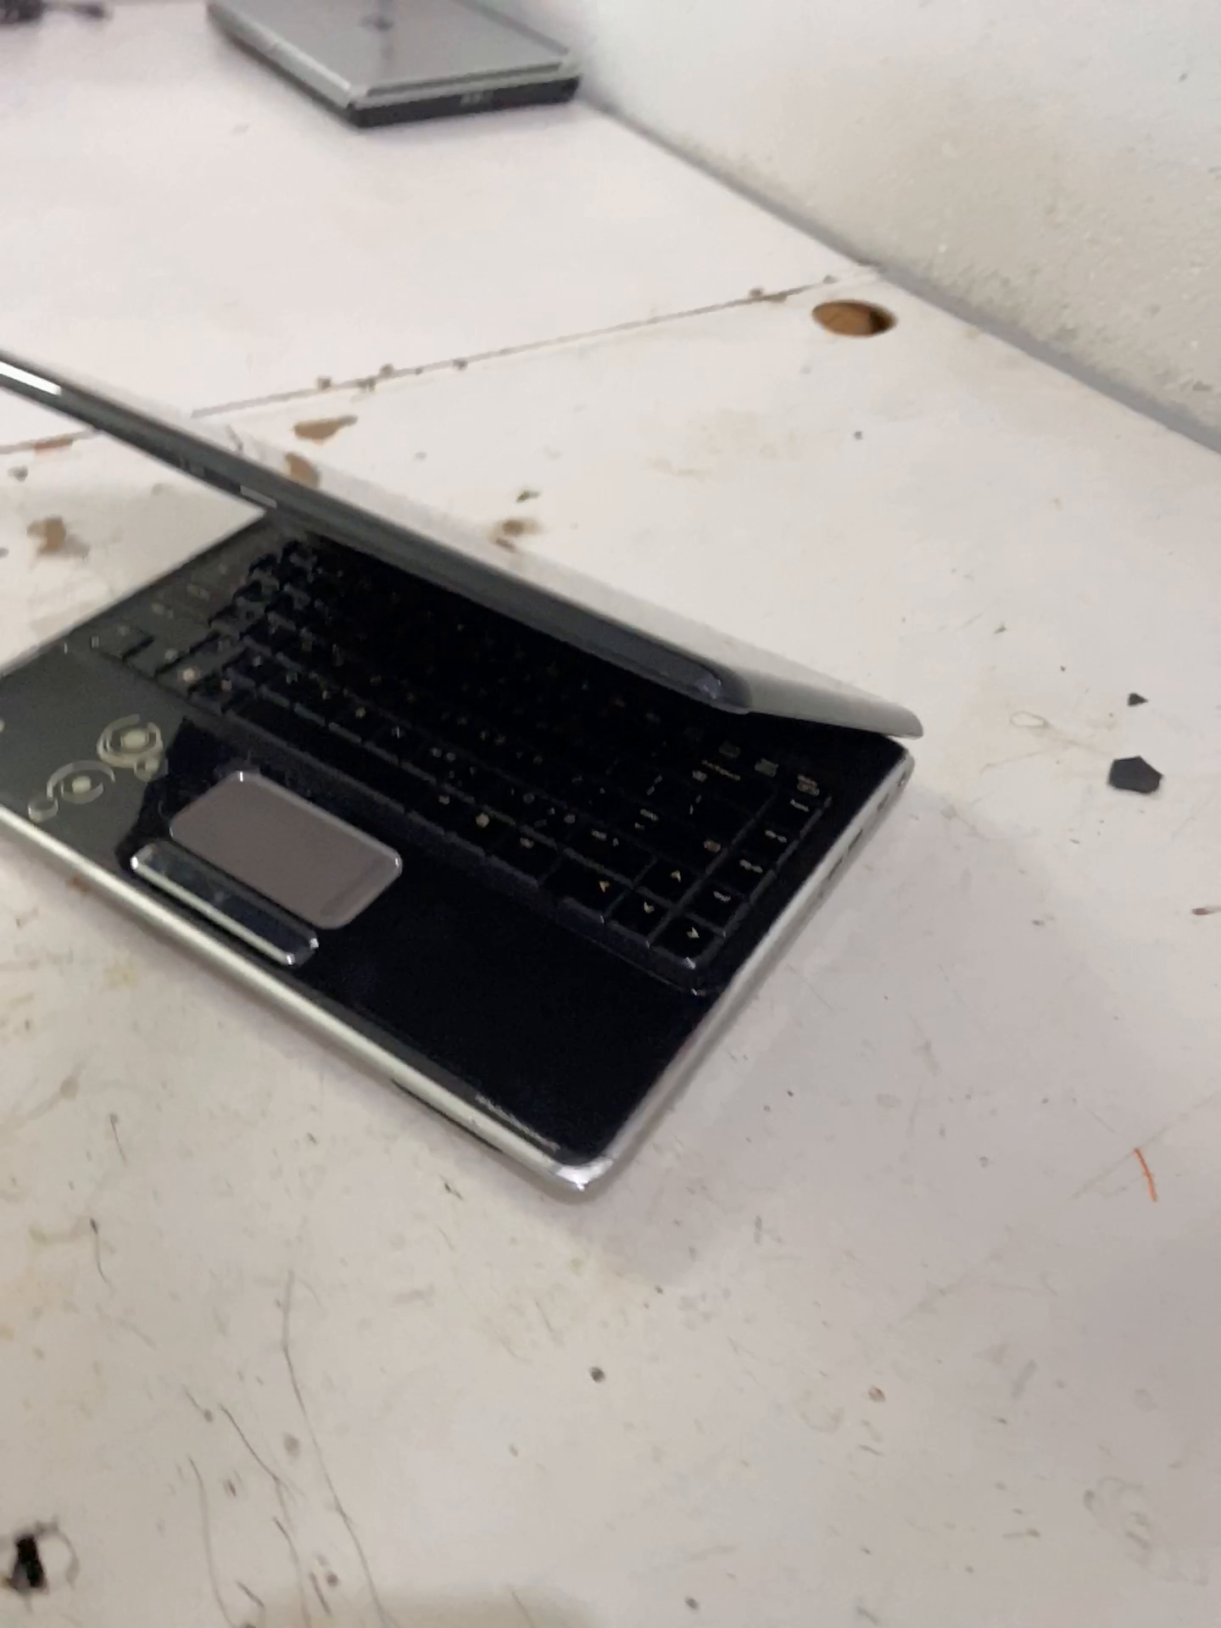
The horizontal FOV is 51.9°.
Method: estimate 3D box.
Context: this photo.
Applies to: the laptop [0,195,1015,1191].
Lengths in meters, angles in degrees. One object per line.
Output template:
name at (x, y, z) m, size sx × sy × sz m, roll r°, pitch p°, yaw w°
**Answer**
laptop at (-0.073, -0.076, 0.446) m, size 0.328 × 0.137 × 0.232 m, roll 27°, pitch 50°, yaw 22°
